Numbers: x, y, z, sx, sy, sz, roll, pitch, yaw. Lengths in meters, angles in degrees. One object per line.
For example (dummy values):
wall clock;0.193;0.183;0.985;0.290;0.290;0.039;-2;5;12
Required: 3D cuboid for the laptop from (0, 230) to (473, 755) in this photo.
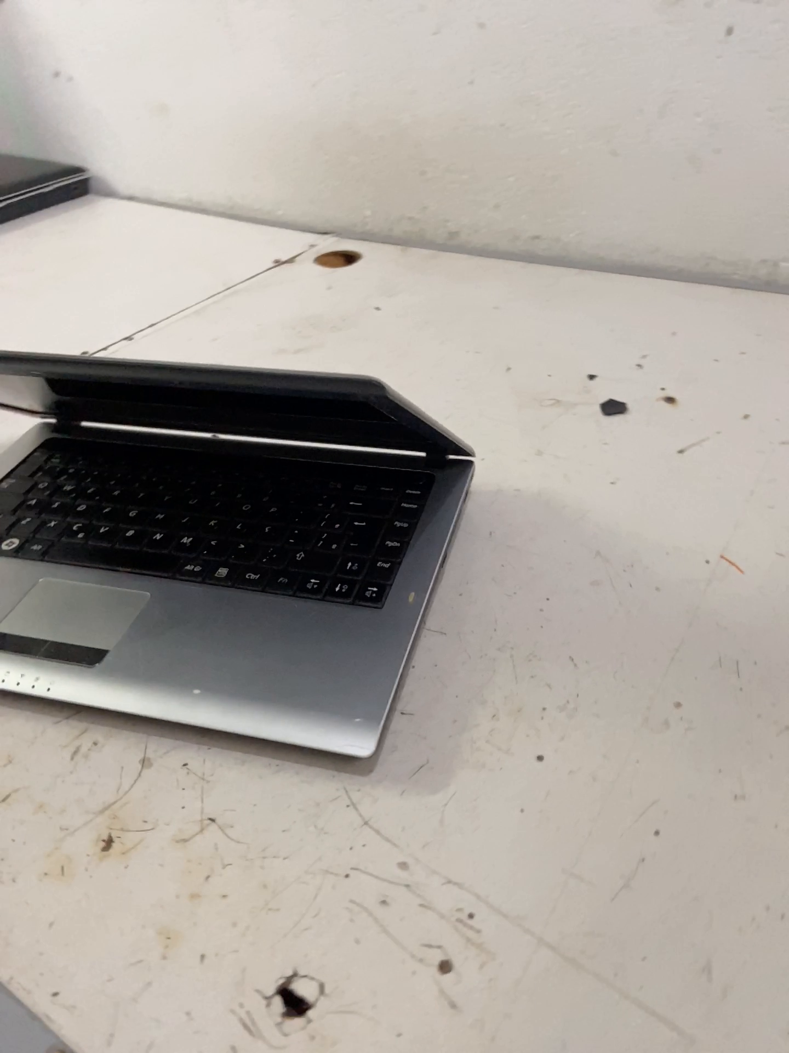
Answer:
laptop;-0.146;-0.048;0.456;0.333;0.152;0.242;7;38;15
